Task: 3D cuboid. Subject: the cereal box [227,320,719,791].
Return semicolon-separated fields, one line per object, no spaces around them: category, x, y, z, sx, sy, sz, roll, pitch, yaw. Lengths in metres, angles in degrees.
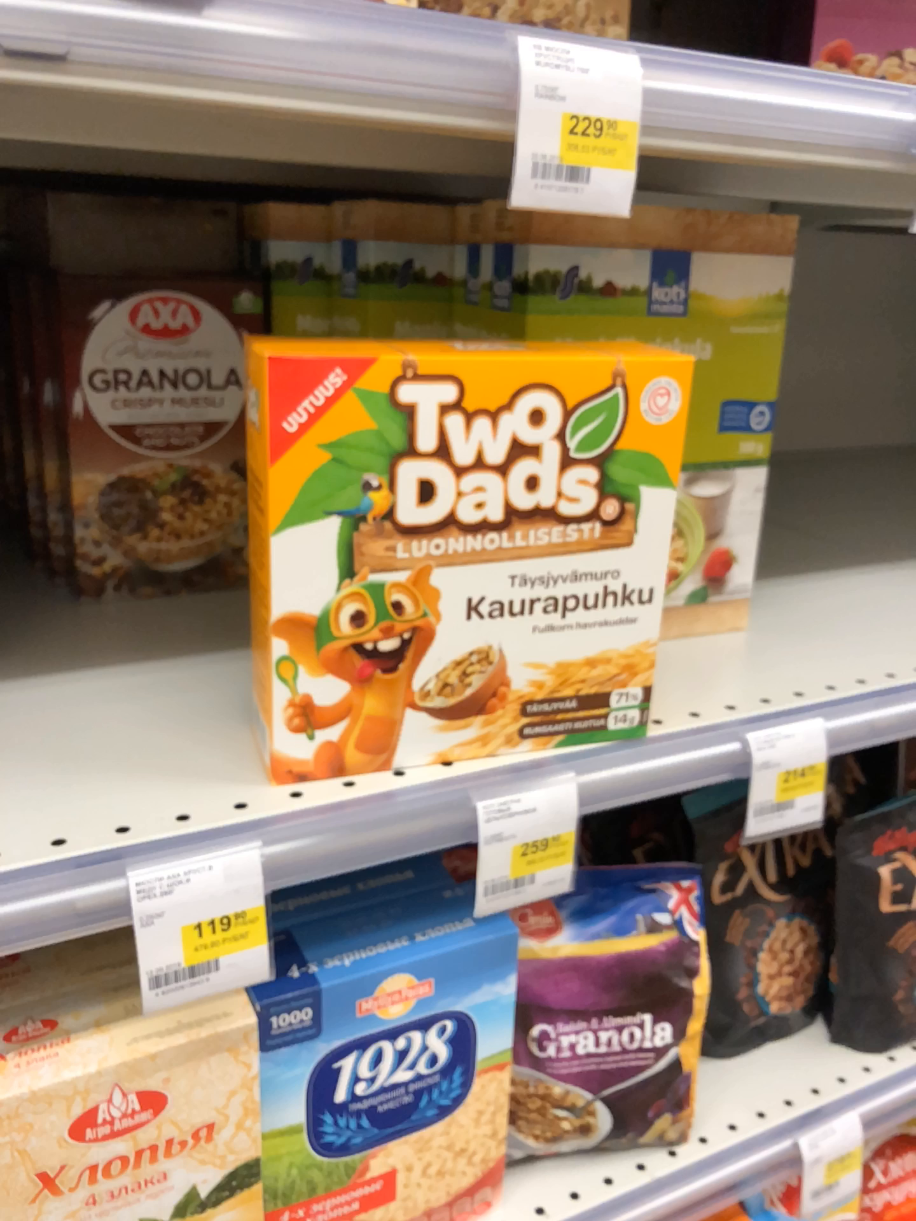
cereal box;0.004;-0.032;0.470;0.200;0.189;0.070;-5;20;-19
